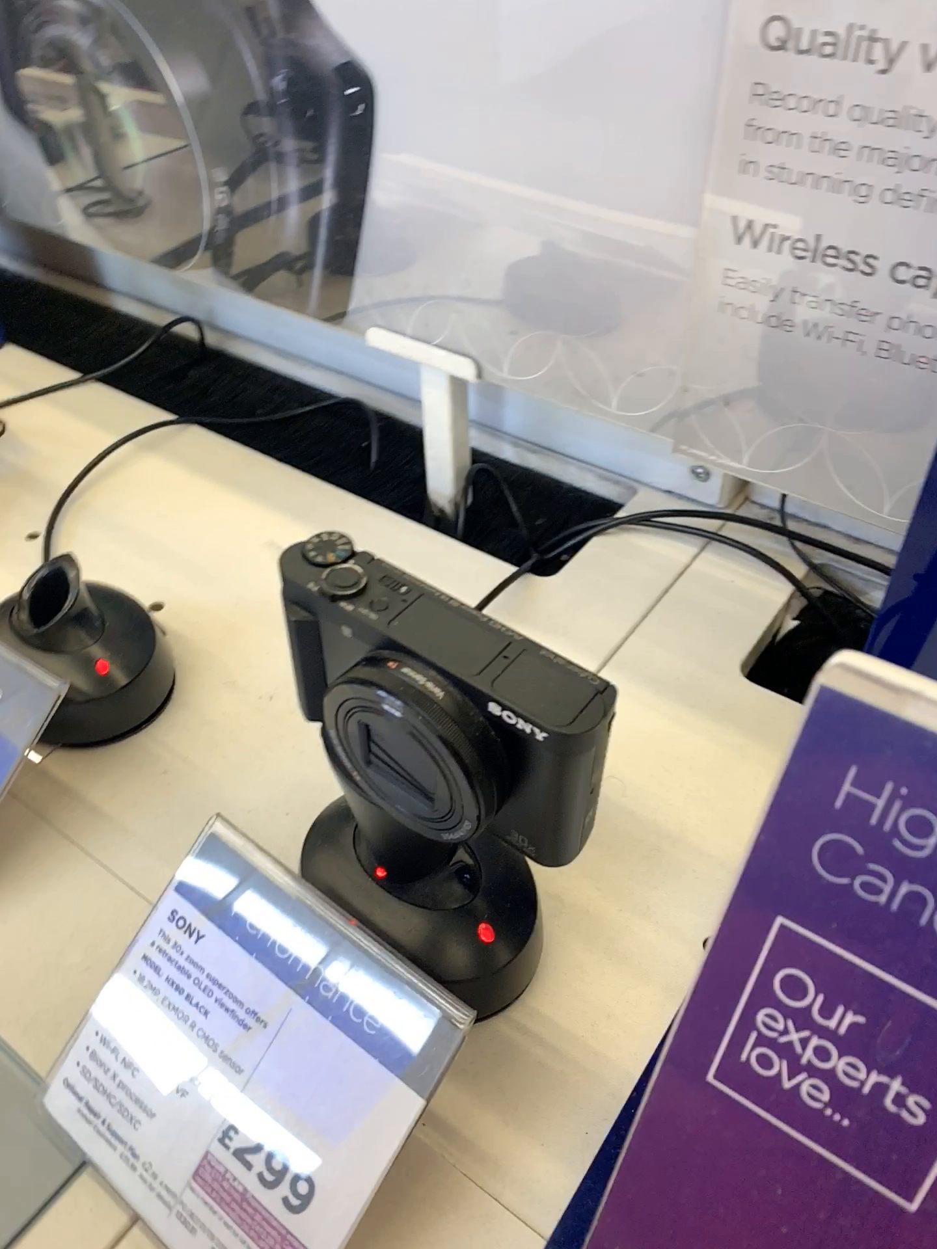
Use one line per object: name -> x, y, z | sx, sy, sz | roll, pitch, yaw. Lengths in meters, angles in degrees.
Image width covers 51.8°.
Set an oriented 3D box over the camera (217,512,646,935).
camera -> -0.011, 0.023, 0.252 | 0.100, 0.059, 0.040 | 28, 51, 26
